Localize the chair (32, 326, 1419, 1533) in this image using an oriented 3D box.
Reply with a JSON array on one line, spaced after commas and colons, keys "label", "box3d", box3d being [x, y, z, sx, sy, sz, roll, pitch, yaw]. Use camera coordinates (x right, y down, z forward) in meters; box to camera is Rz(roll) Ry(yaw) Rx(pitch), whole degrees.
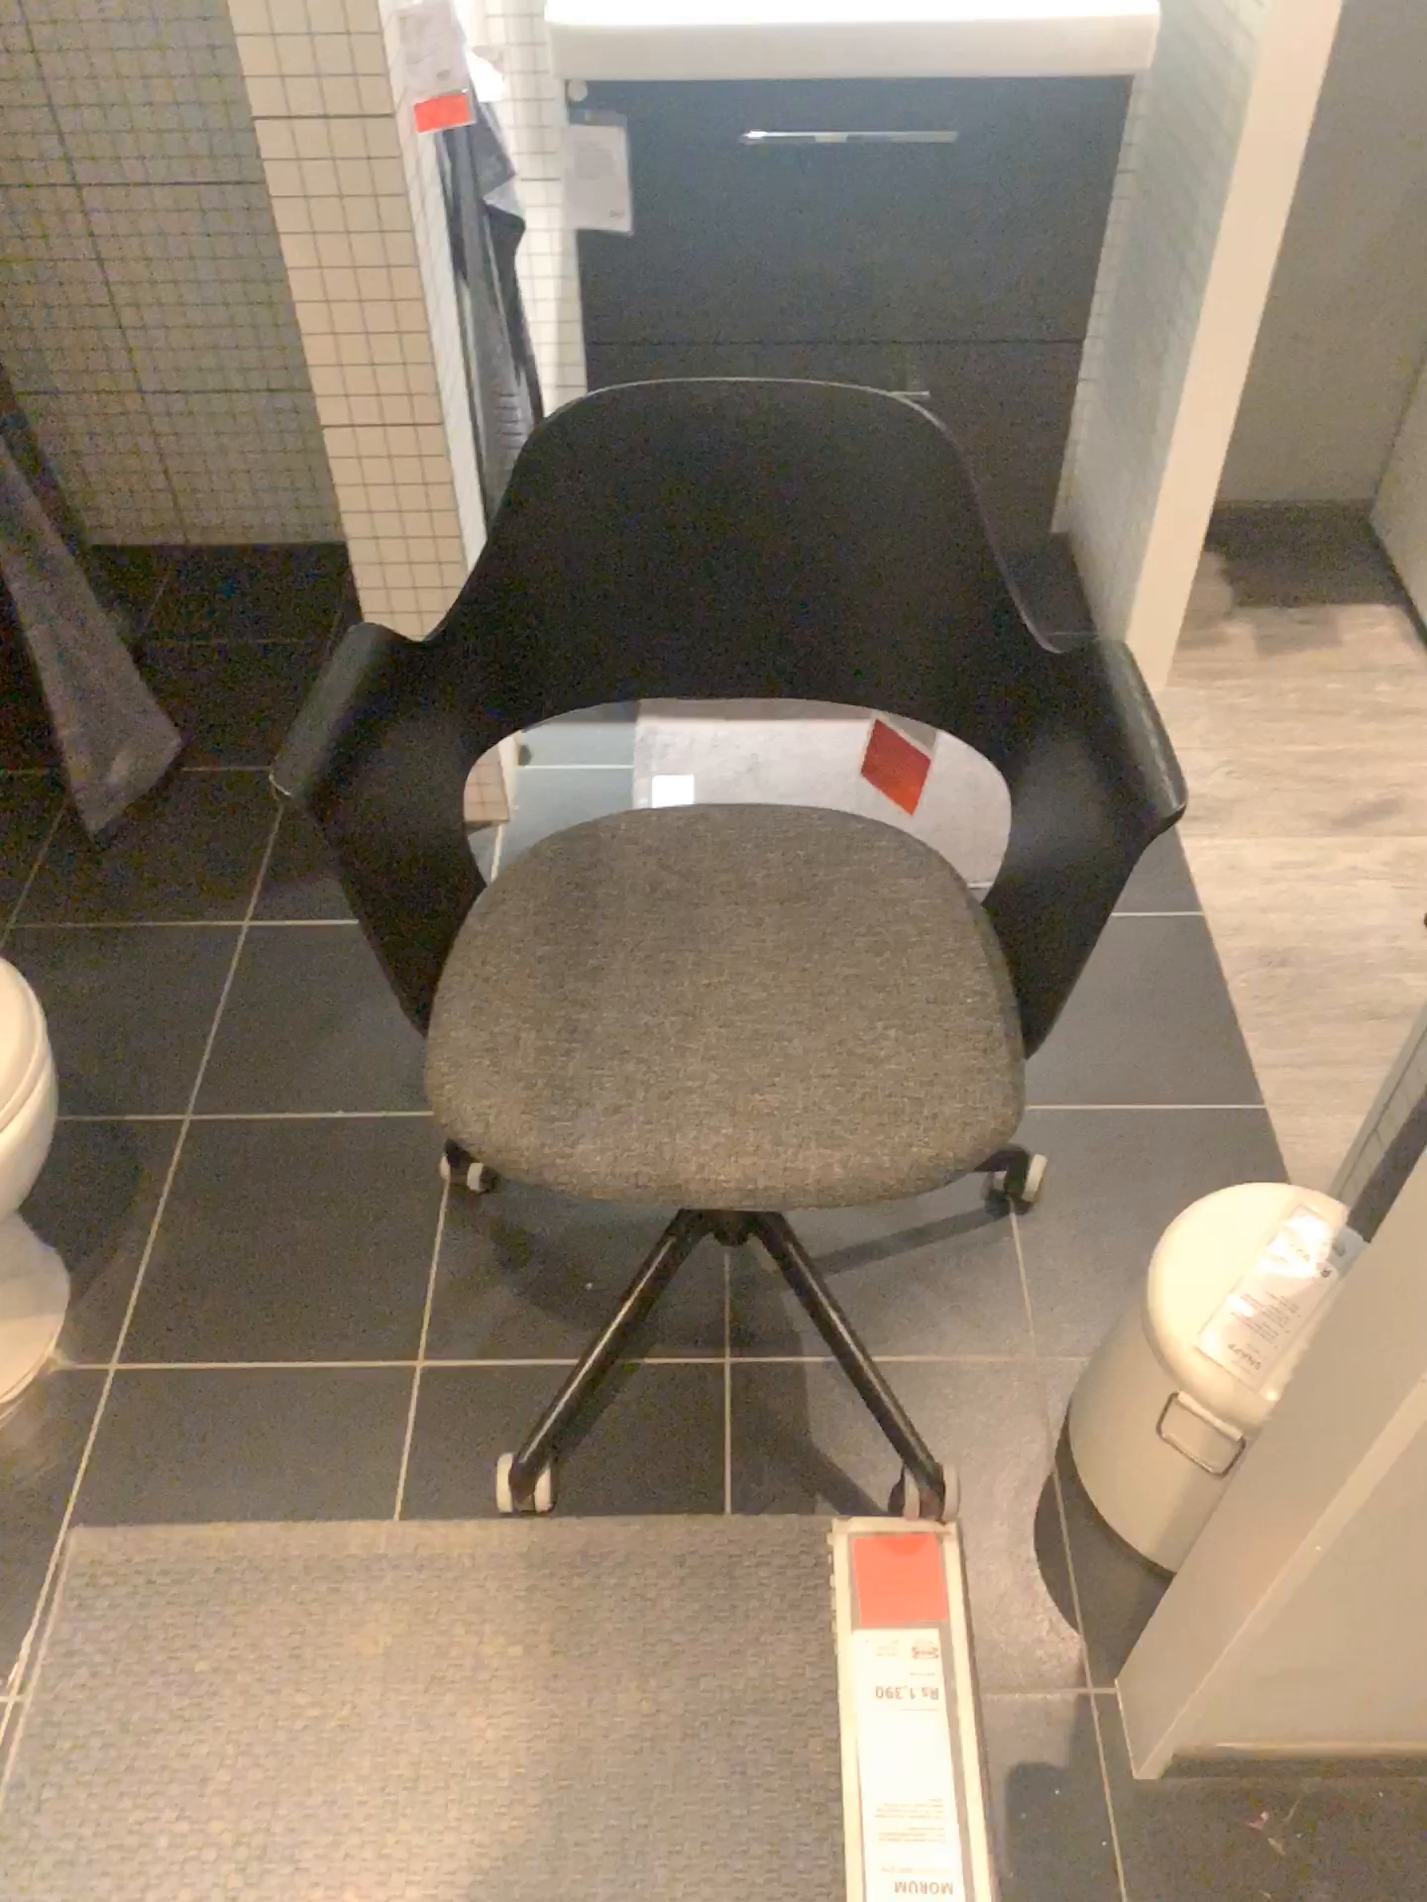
[{"label": "chair", "box3d": [0.012, 0.011, 1.147, 0.640, 0.738, 0.602, 0, 47, 1]}]
